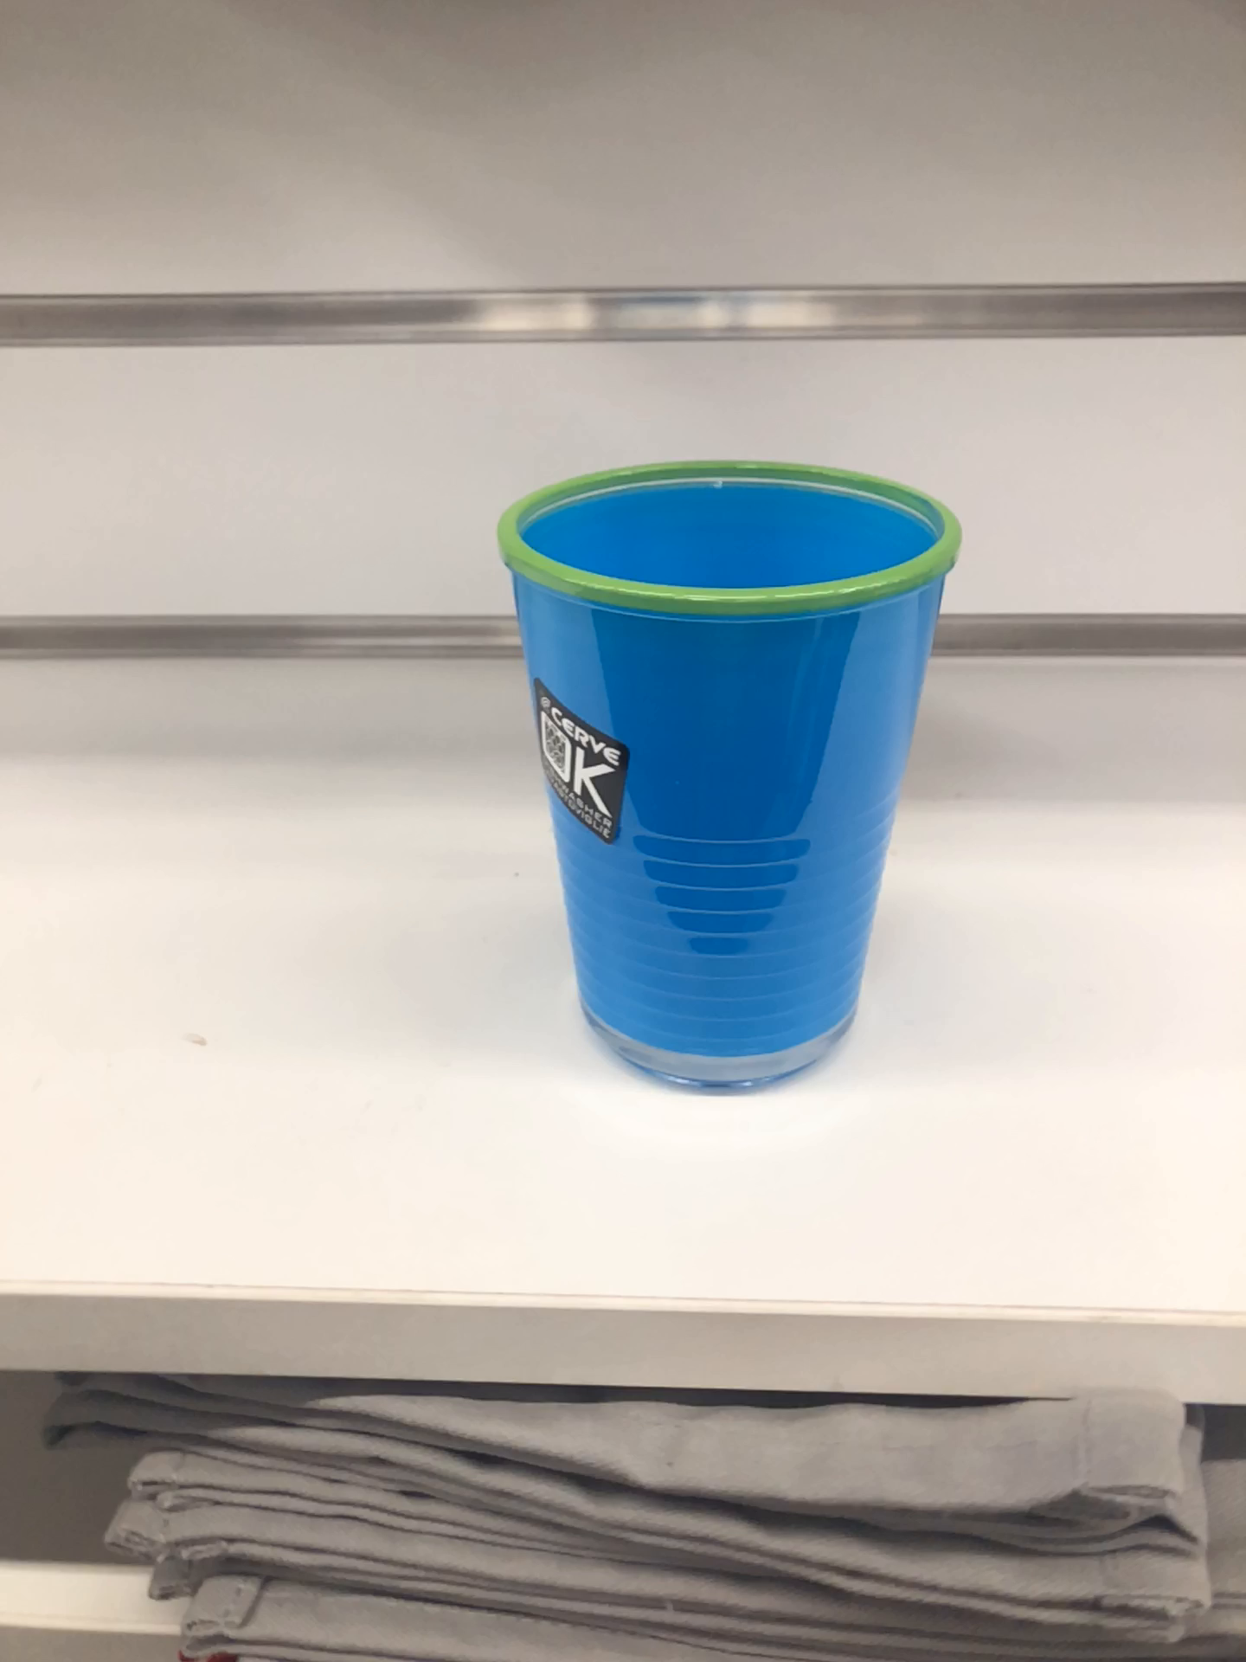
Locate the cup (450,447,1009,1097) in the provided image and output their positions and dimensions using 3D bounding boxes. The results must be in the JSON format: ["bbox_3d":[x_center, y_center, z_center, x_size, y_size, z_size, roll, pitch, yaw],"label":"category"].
[{"bbox_3d":[0.019,-0.015,0.258,0.080,0.090,0.084,0,28,0],"label":"cup"}]
